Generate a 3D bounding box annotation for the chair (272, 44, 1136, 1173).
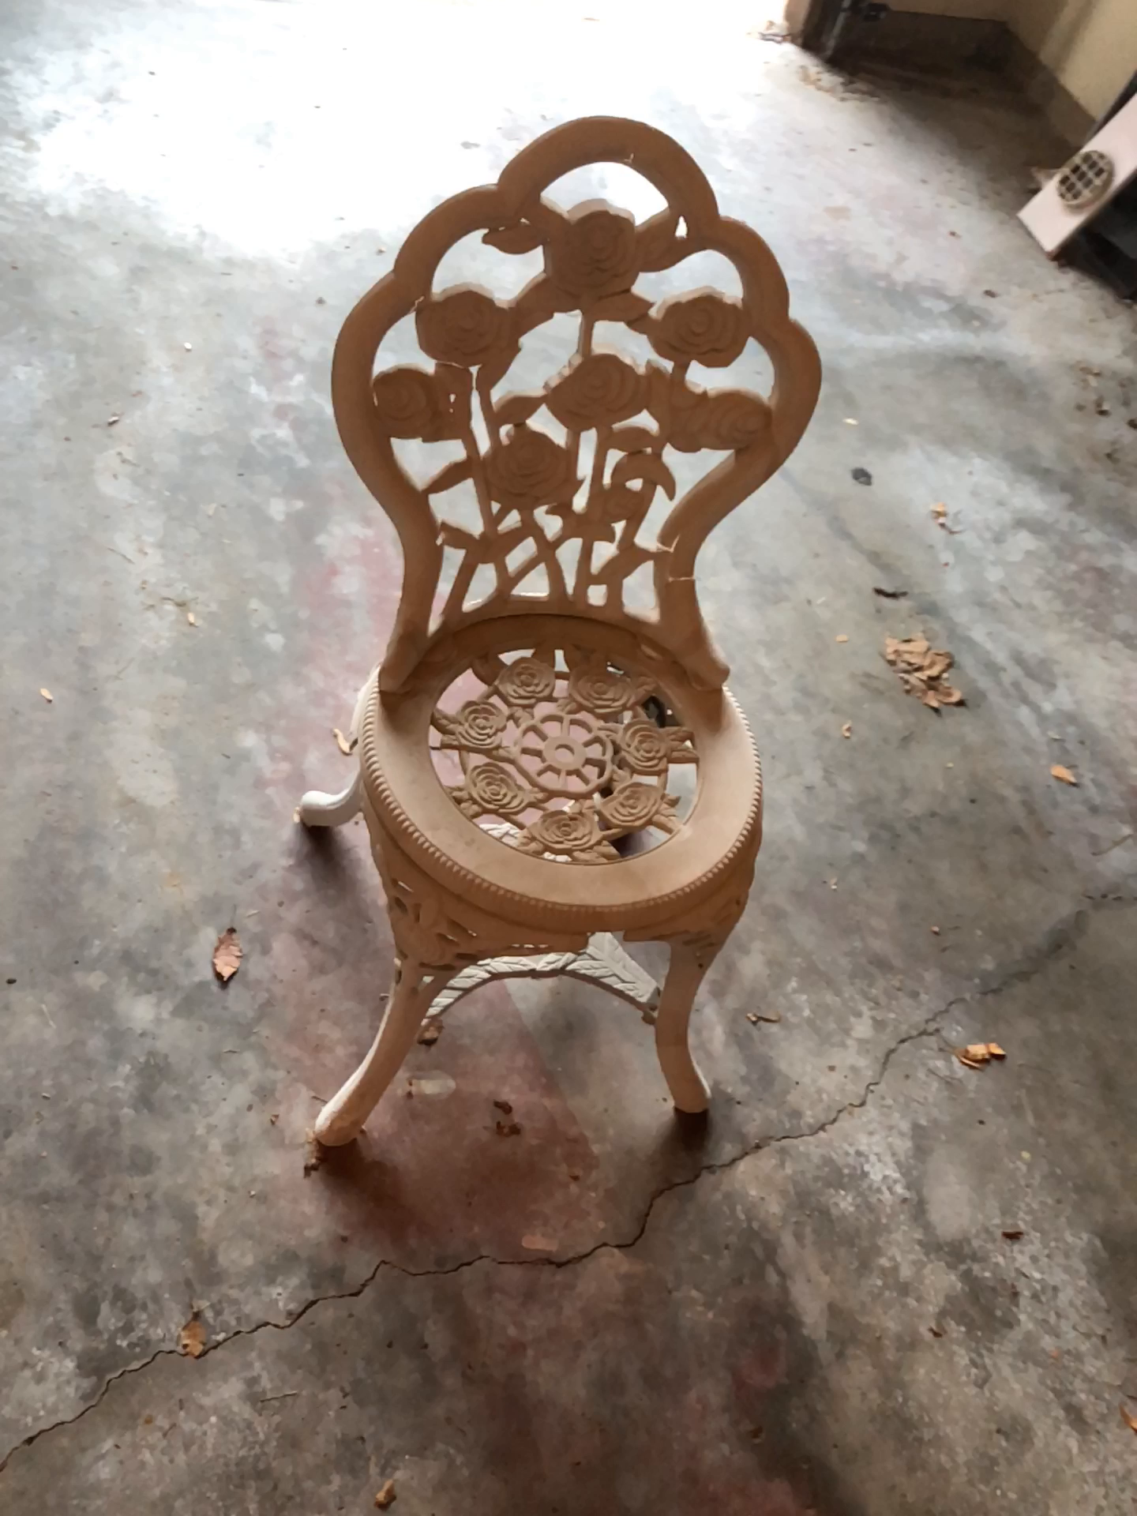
[{"bbox_3d":[0.002,-0.045,1.166,0.491,0.899,0.500,-2,54,-16],"label":"chair"}]
